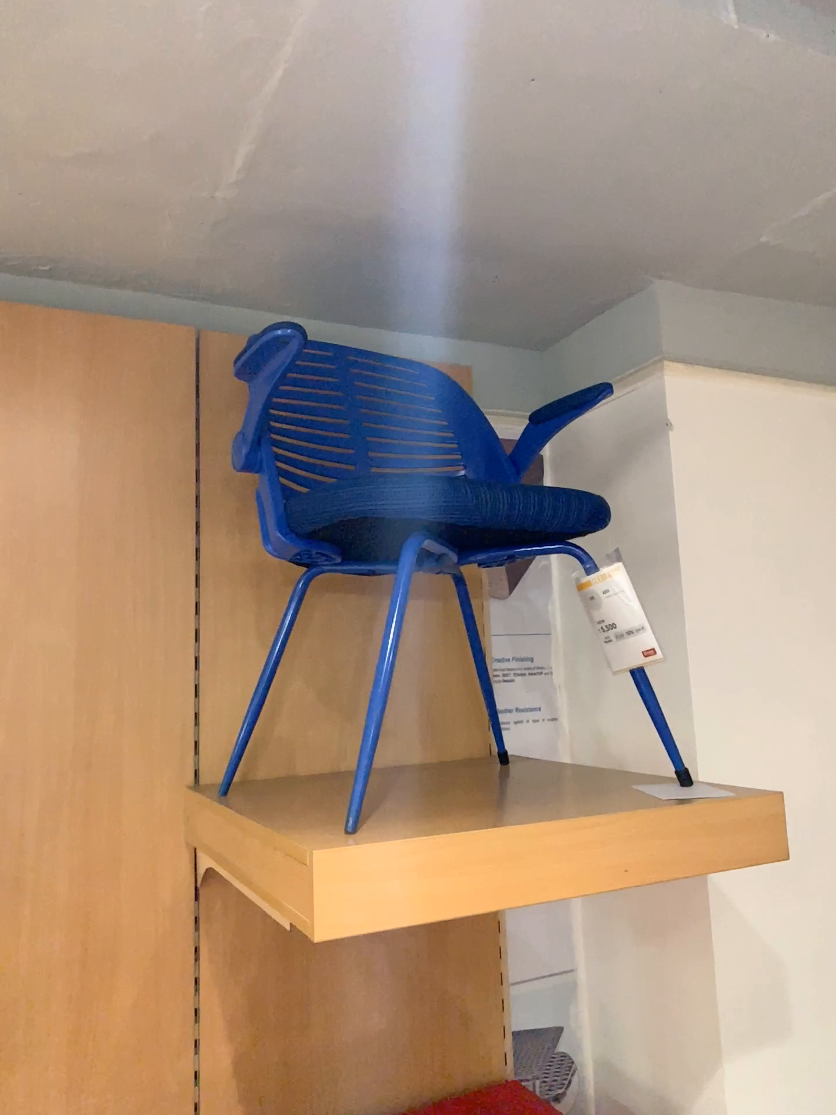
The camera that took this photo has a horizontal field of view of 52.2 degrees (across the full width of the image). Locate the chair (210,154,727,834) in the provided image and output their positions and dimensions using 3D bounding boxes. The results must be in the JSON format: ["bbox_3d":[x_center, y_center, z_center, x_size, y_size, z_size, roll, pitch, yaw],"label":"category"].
[{"bbox_3d":[0.036,-0.050,1.349,0.570,0.791,0.549,2,-9,-30],"label":"chair"}]
